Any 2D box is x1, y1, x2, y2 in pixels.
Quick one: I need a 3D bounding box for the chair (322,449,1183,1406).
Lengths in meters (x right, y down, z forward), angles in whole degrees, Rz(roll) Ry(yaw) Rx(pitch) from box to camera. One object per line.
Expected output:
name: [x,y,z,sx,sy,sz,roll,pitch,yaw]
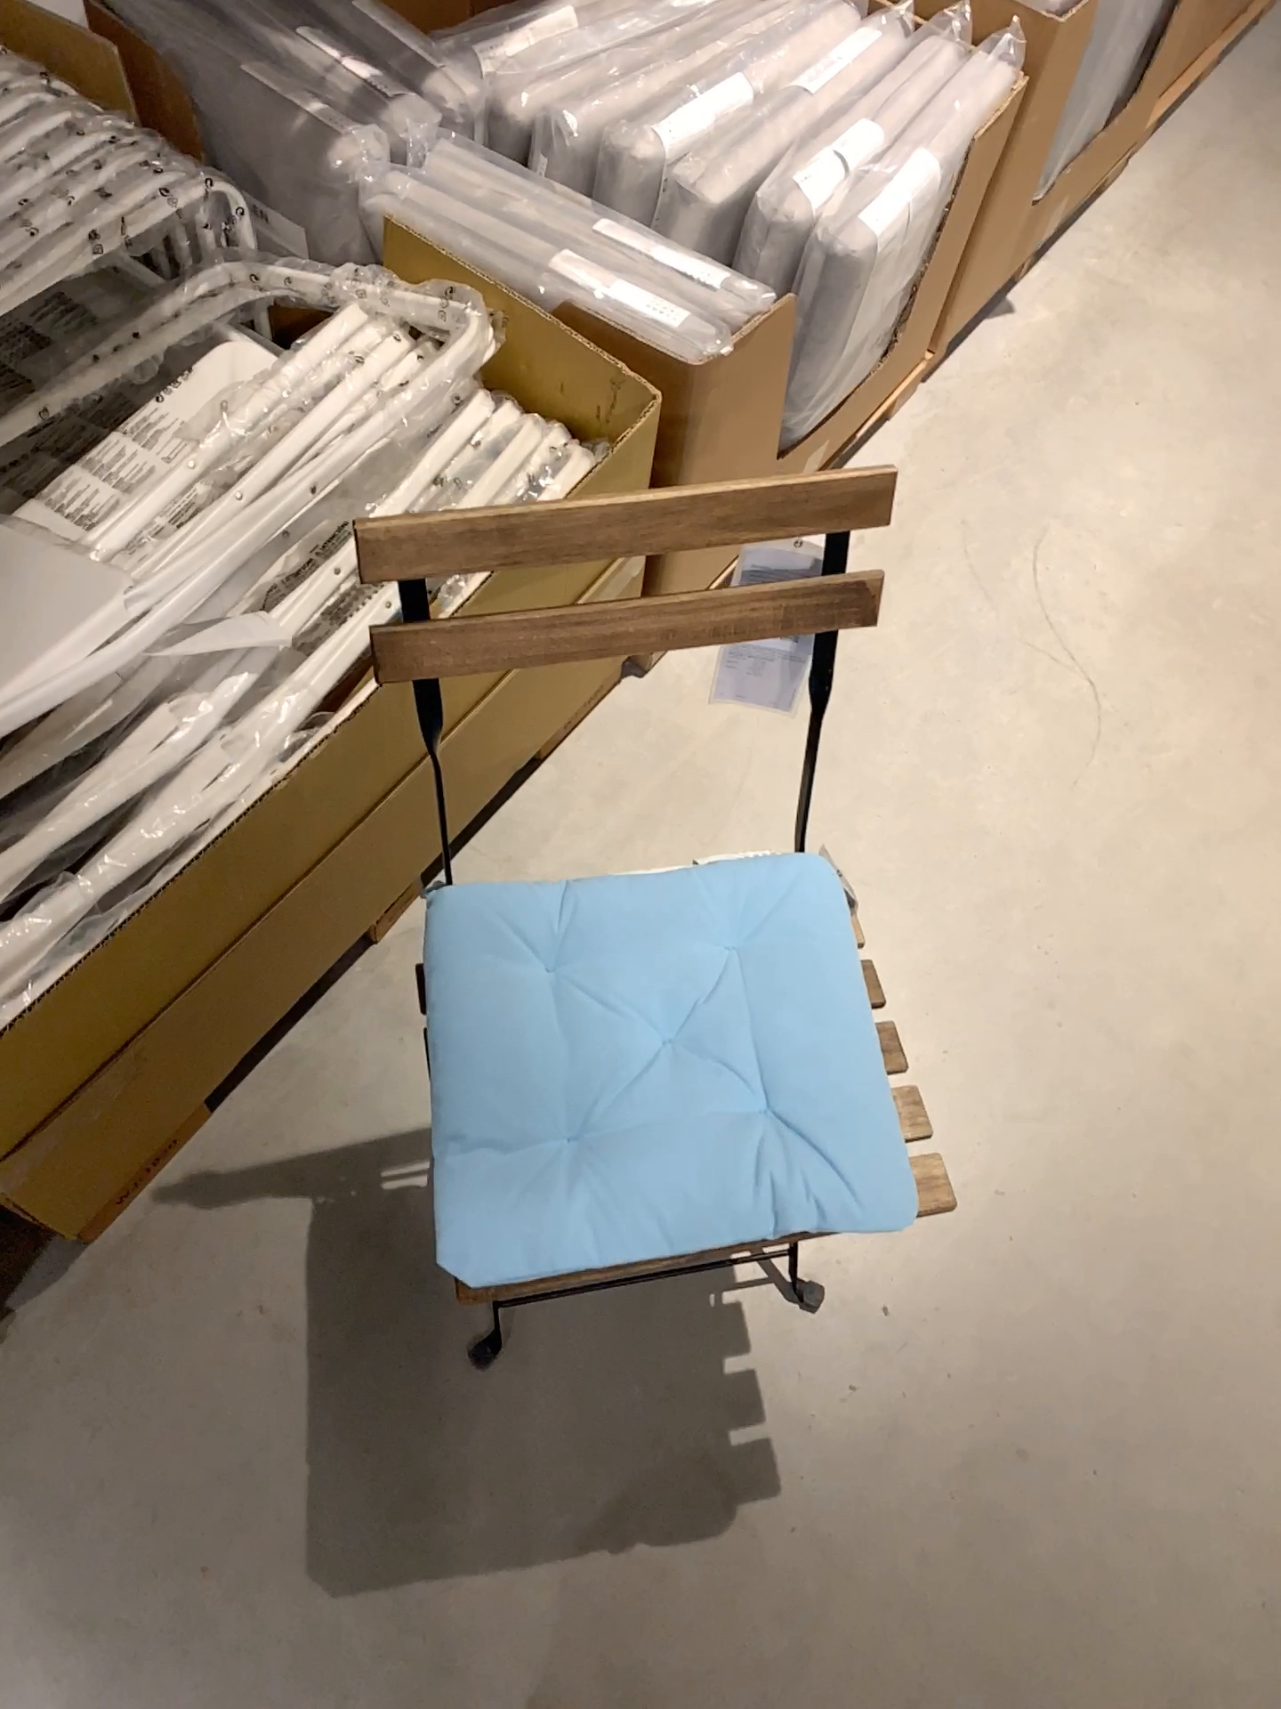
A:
chair: [0.007,0.127,1.071,0.400,0.739,0.461,-8,63,-10]
